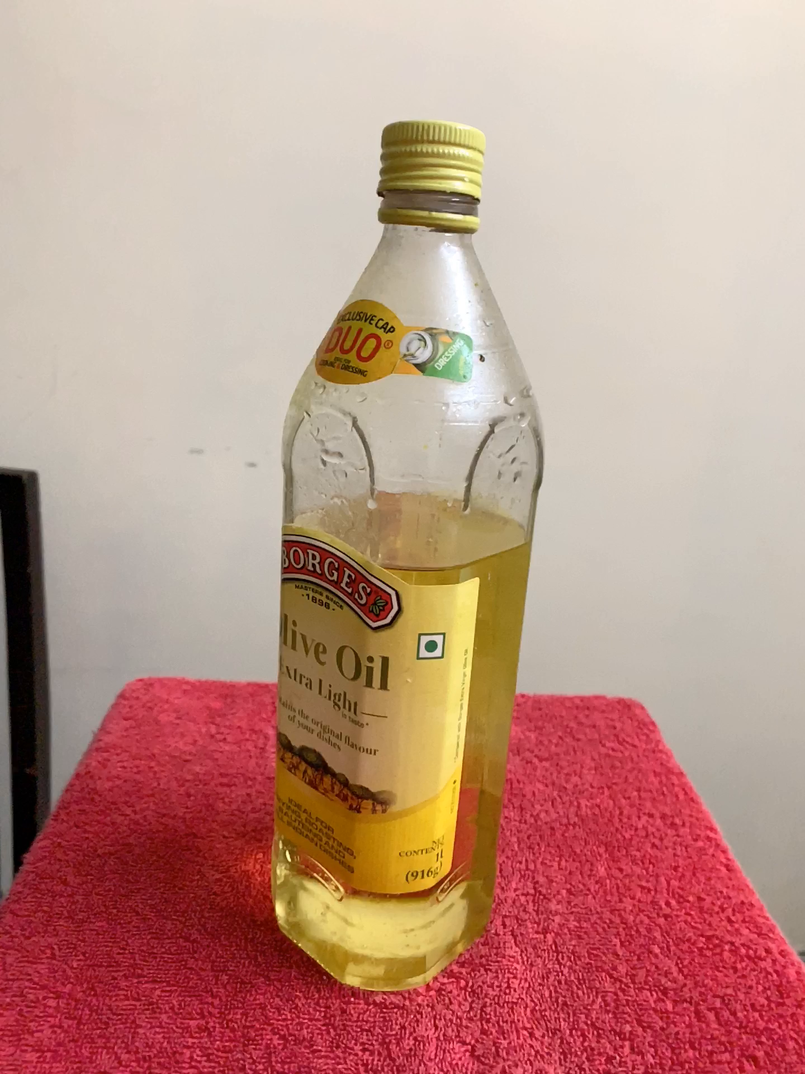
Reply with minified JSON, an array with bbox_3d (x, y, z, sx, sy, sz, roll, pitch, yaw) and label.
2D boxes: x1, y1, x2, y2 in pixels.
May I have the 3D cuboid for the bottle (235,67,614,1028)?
[{"bbox_3d":[-0.002,0.008,0.275,0.070,0.269,0.080,-12,22,-42],"label":"bottle"}]
